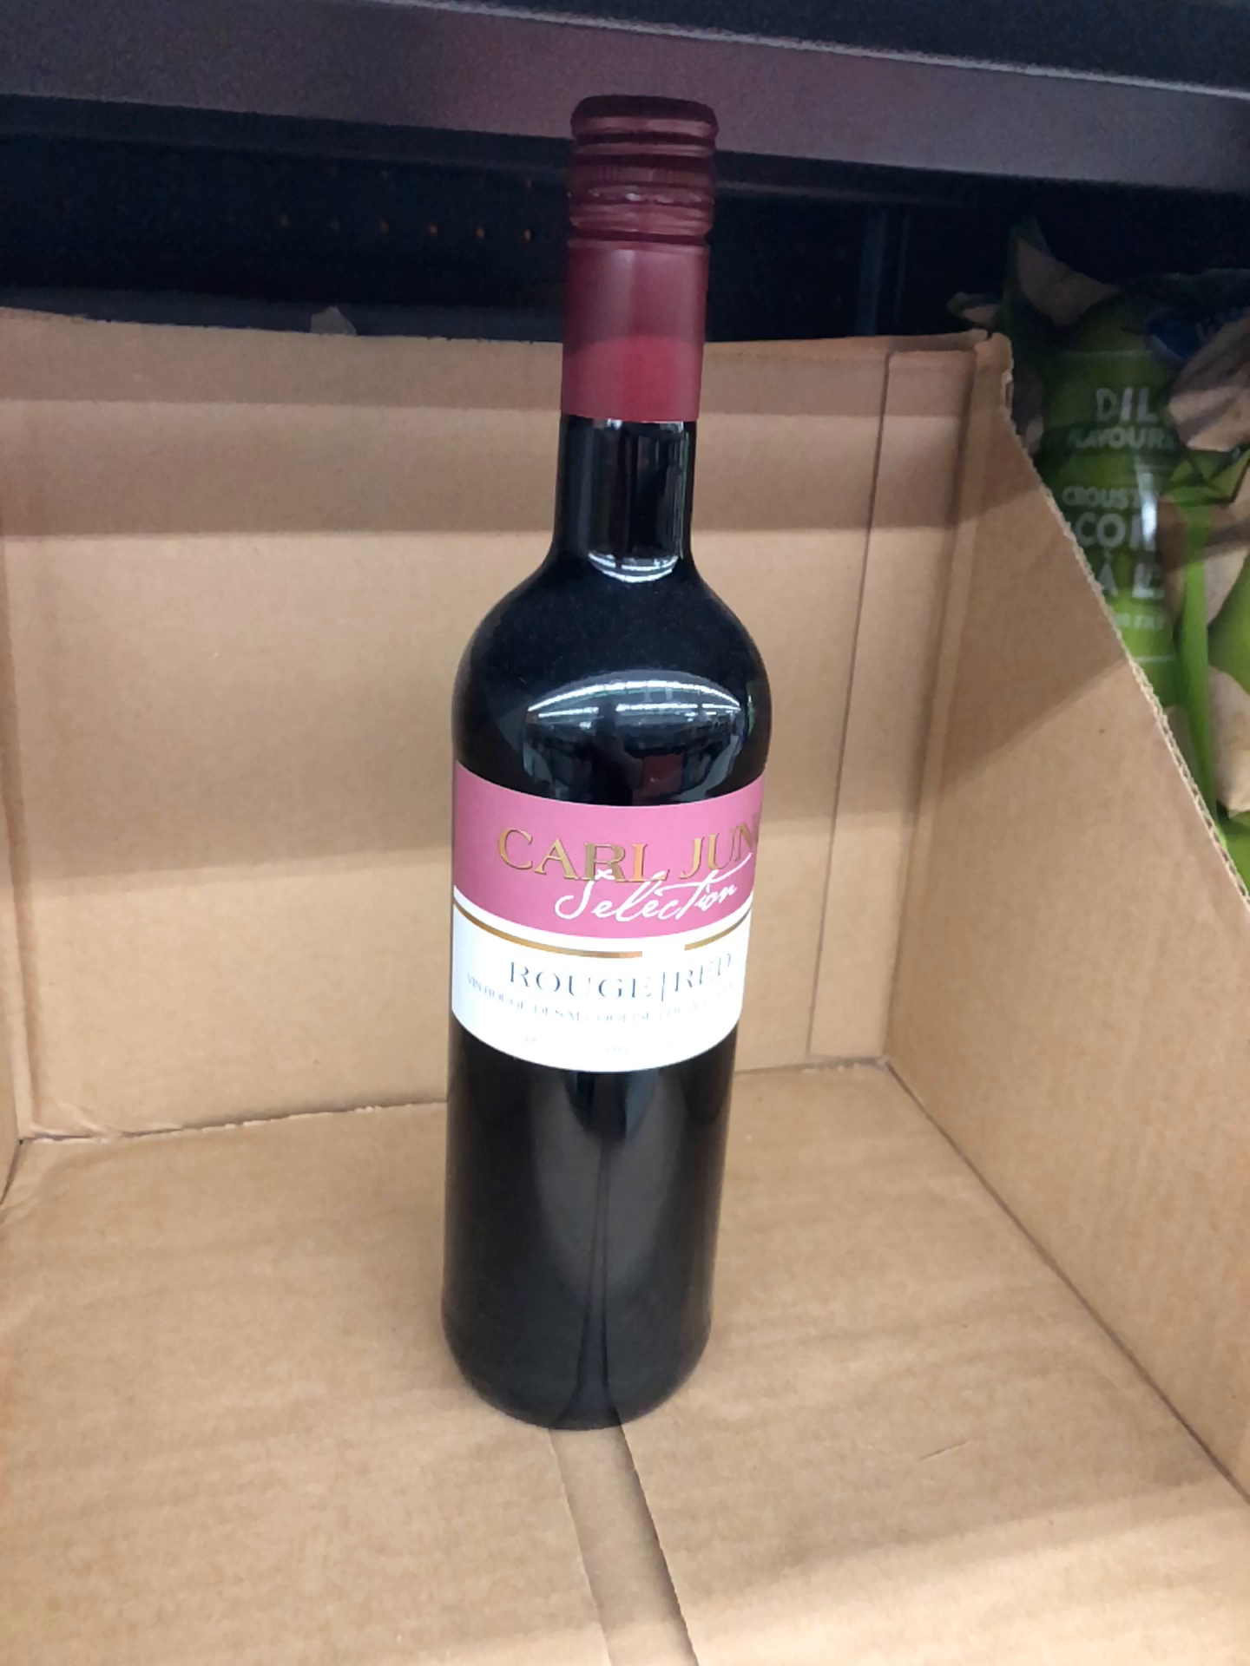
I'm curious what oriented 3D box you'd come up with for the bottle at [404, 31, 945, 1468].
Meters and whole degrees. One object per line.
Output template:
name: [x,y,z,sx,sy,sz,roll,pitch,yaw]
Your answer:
bottle: [-0.005,-0.004,0.326,0.090,0.308,0.081,-1,22,-11]
